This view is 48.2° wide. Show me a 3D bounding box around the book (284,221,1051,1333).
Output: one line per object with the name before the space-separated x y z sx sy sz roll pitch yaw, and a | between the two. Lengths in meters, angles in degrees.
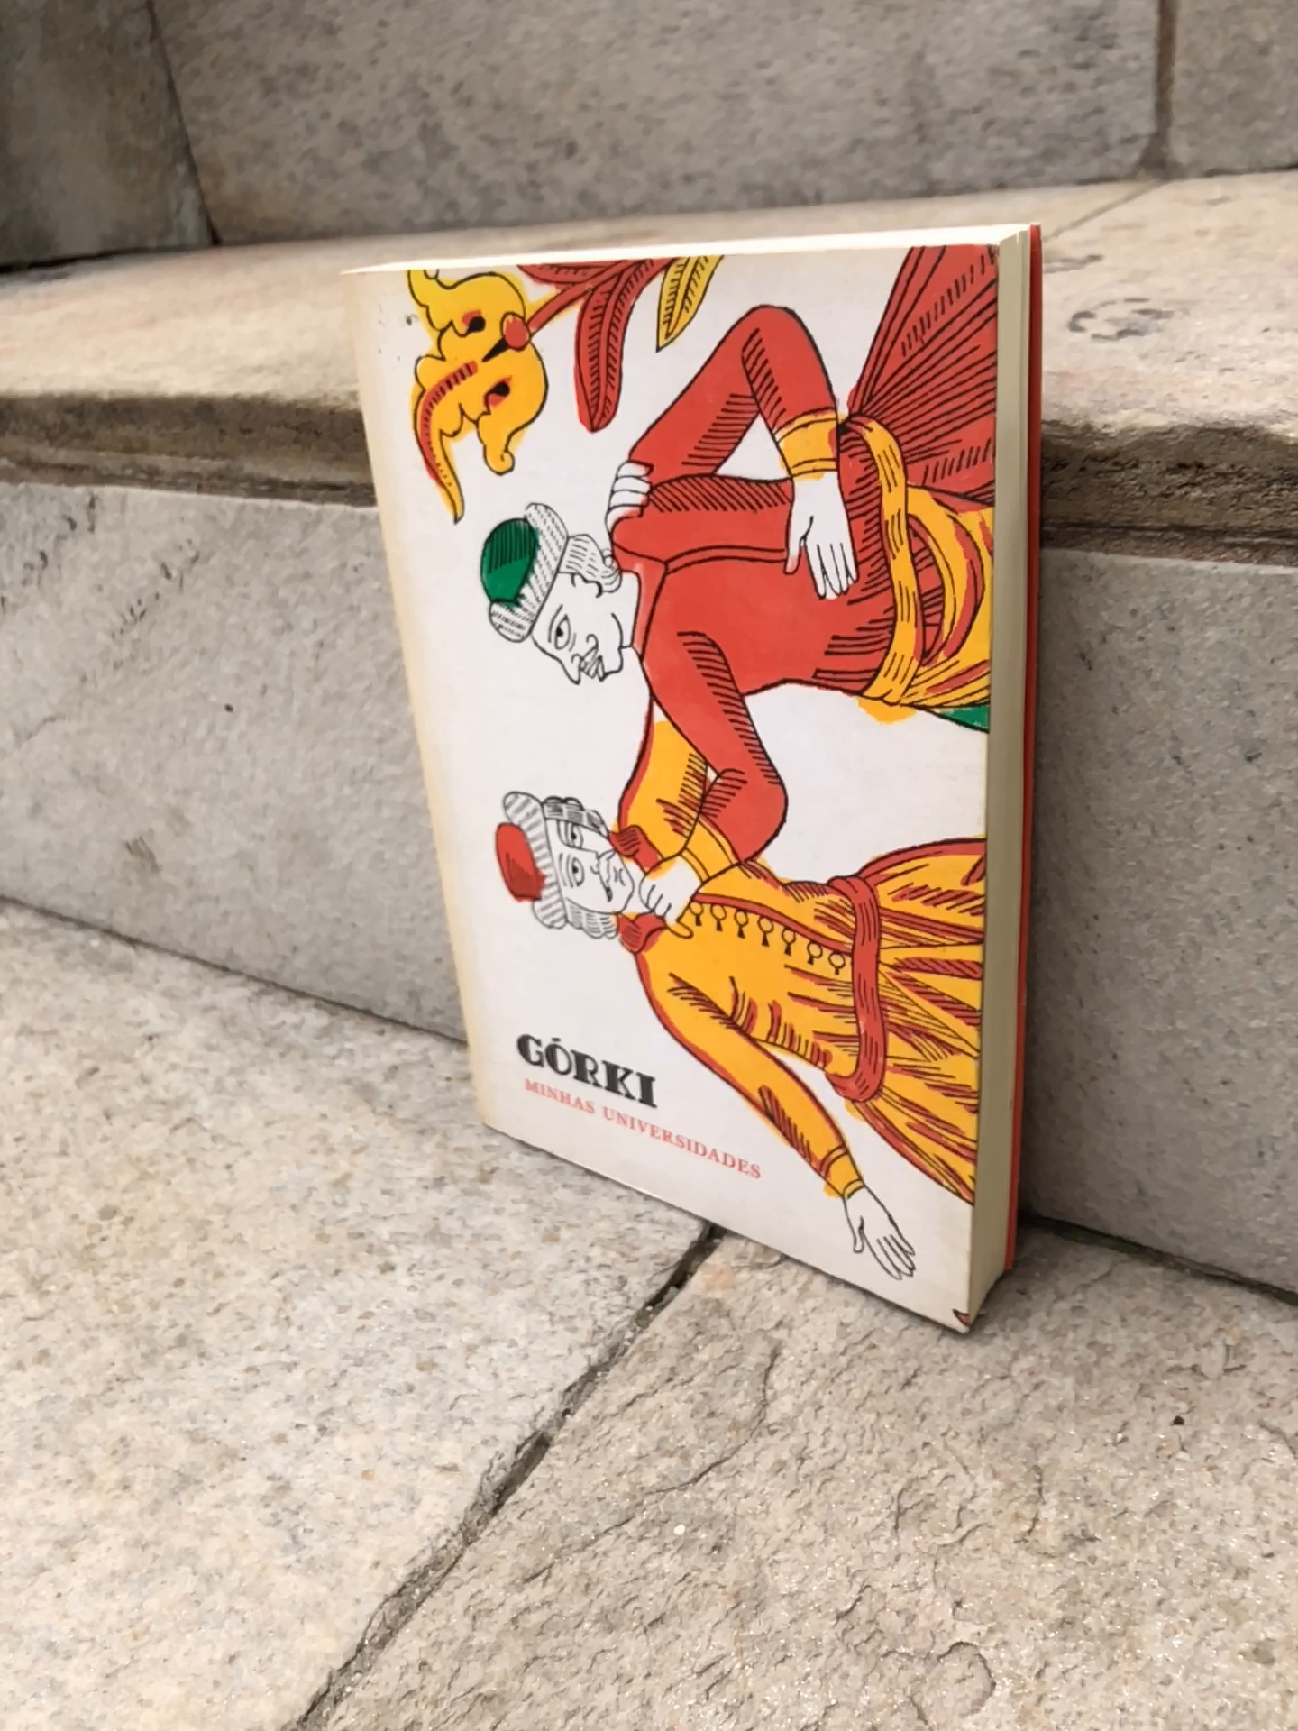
book | 0.003 -0.018 0.285 0.142 0.189 0.030 14 30 36
